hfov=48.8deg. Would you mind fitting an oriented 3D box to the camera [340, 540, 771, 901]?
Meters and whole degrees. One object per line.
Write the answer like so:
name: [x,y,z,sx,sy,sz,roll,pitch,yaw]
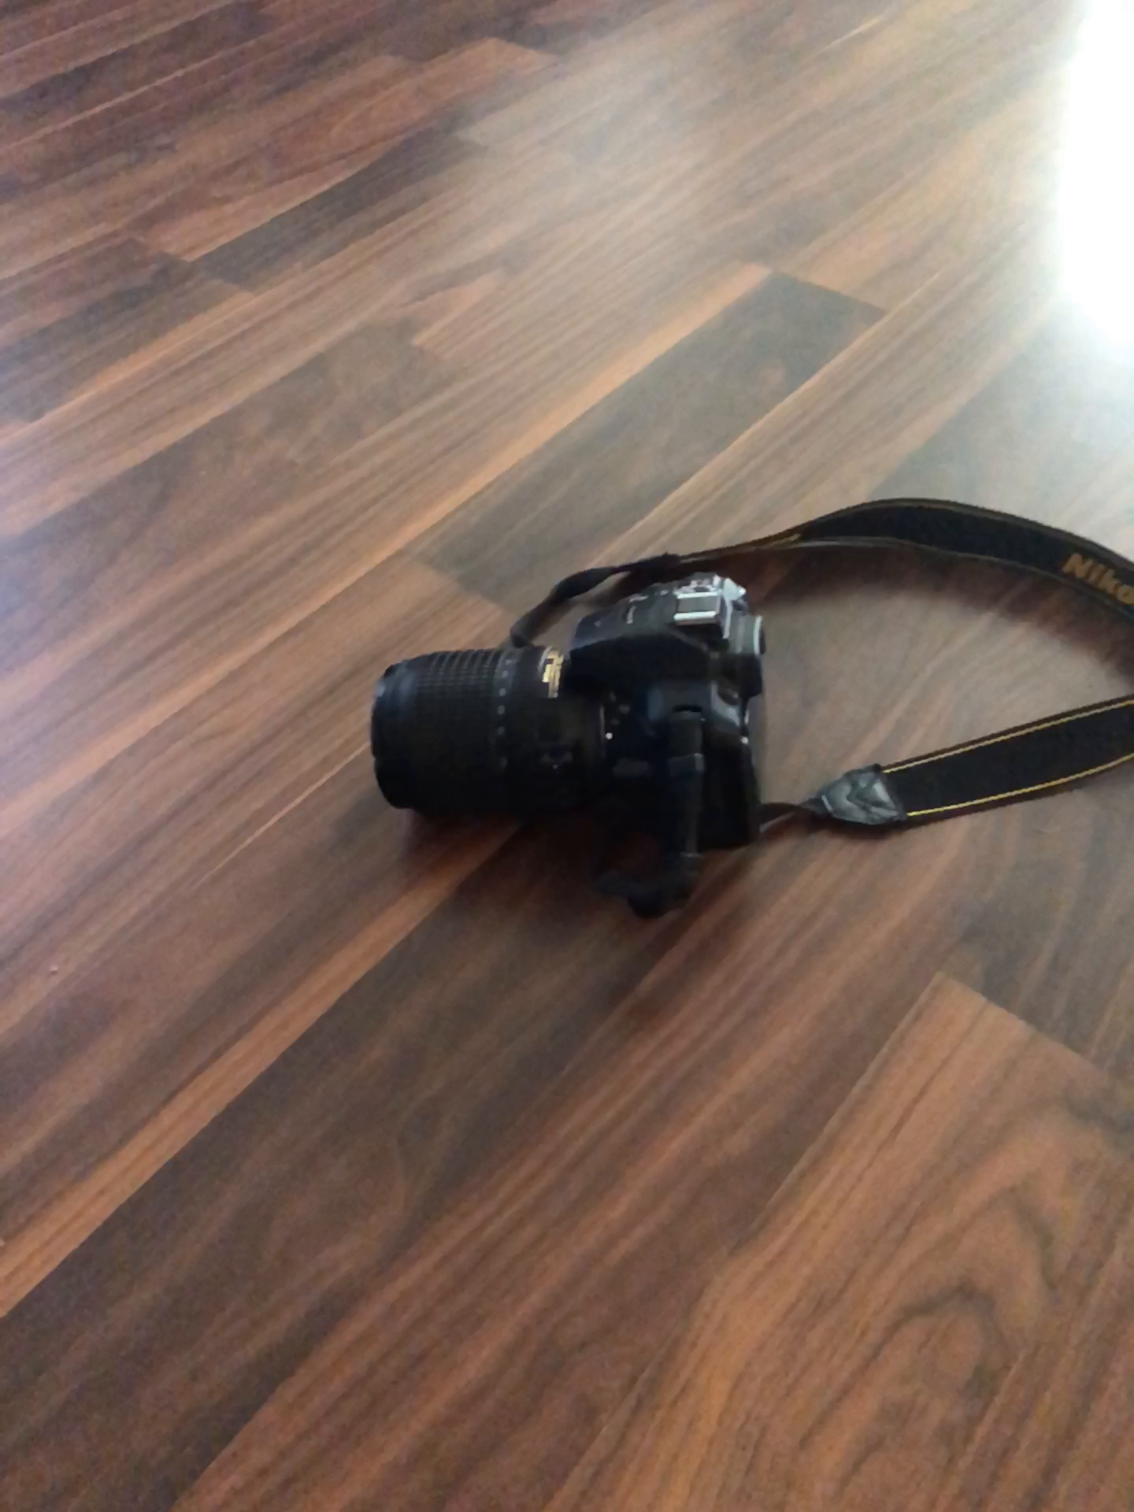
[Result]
camera: [0.006,-0.015,0.599,0.180,0.130,0.110,0,48,9]
